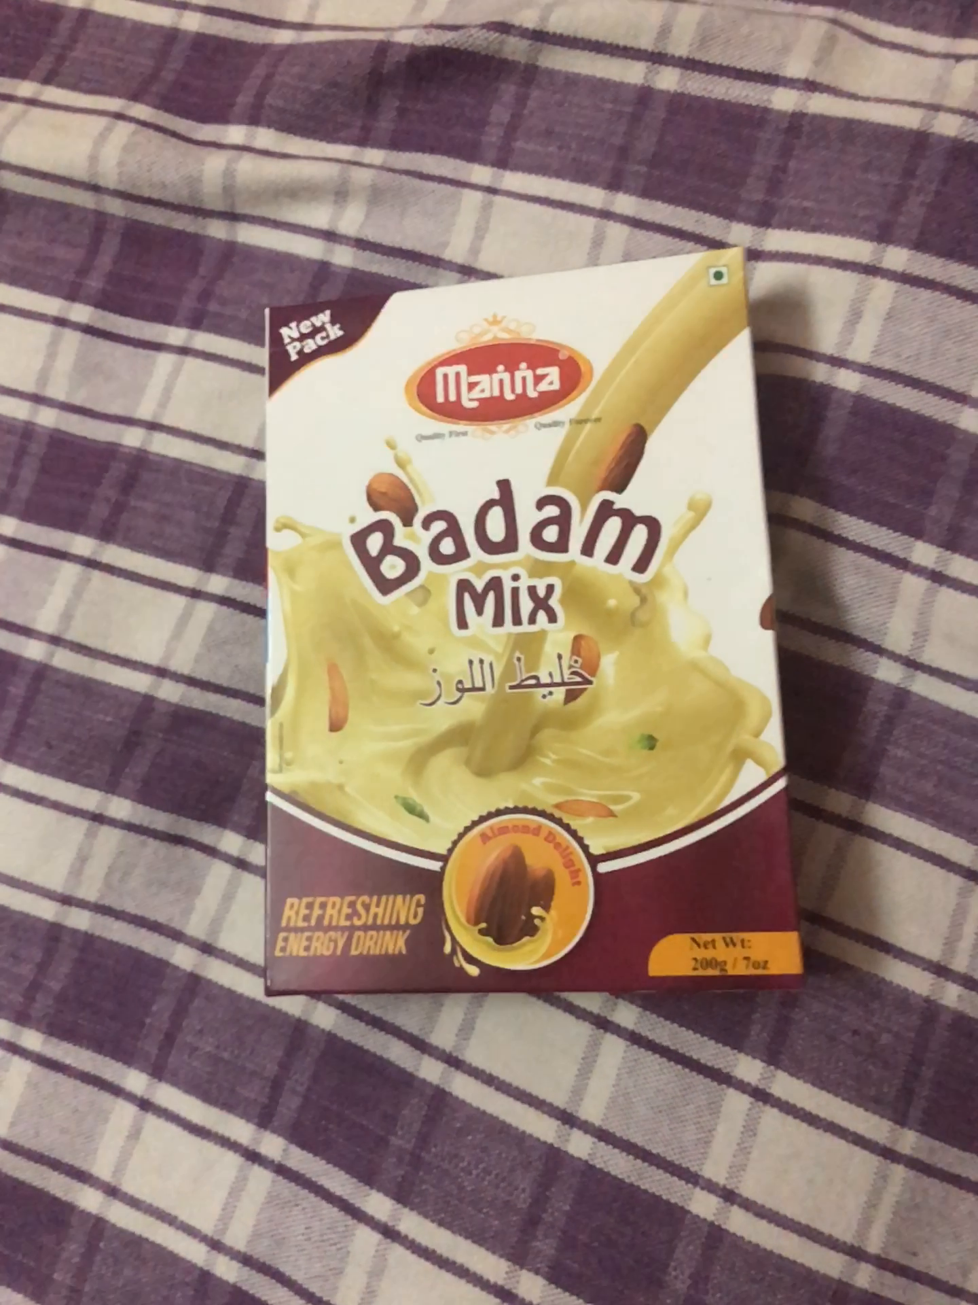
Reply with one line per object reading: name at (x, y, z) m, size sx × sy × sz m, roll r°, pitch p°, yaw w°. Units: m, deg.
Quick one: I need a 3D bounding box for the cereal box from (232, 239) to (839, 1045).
cereal box at (0.009, -0.001, 0.273) m, size 0.130 × 0.050 × 0.180 m, roll -3°, pitch 79°, yaw 9°
